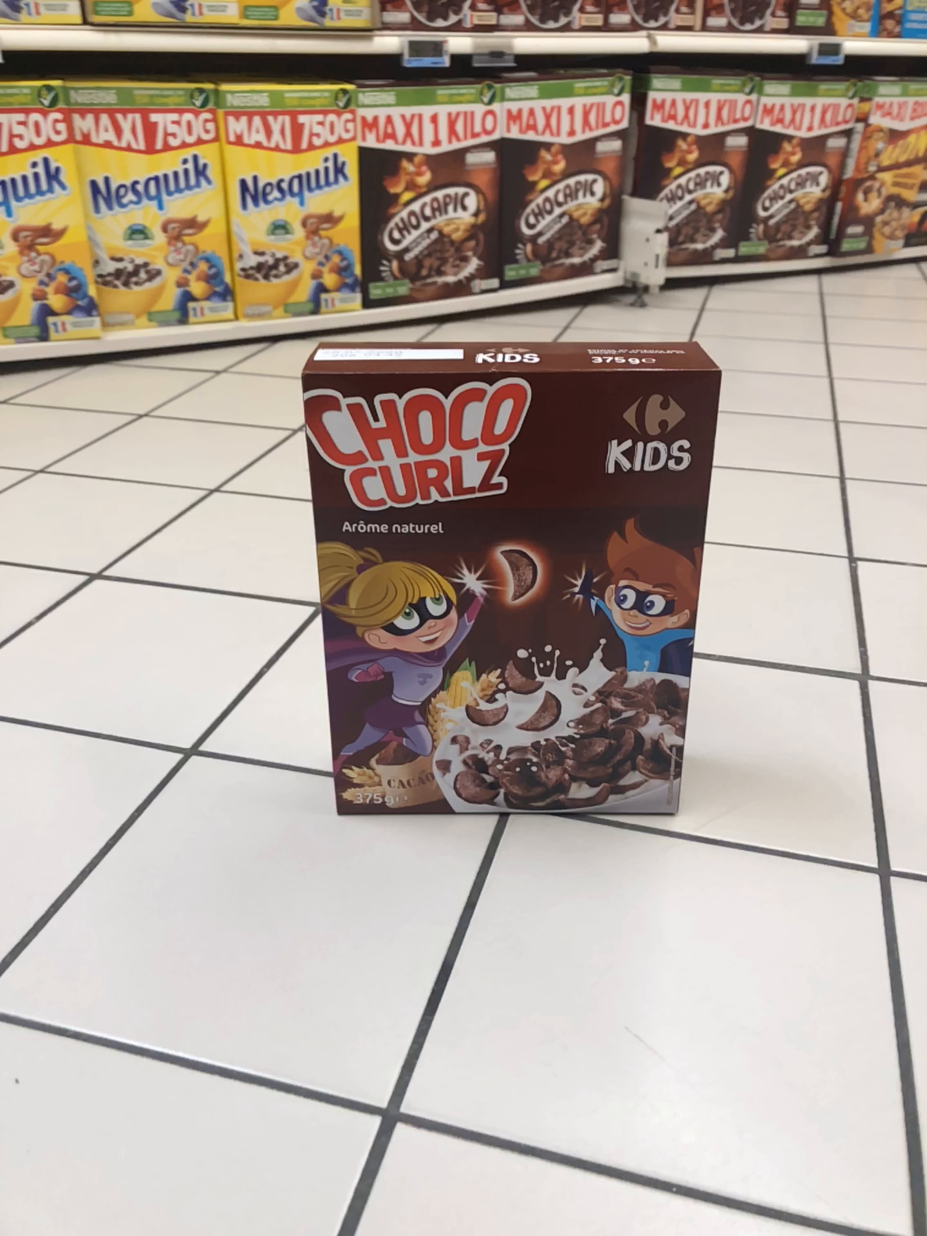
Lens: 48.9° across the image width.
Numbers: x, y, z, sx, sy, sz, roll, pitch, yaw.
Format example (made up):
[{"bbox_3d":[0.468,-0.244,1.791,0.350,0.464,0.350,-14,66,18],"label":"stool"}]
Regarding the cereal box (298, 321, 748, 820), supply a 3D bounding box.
[{"bbox_3d":[0.027,-0.019,0.544,0.200,0.259,0.070,0,27,1],"label":"cereal box"}]
